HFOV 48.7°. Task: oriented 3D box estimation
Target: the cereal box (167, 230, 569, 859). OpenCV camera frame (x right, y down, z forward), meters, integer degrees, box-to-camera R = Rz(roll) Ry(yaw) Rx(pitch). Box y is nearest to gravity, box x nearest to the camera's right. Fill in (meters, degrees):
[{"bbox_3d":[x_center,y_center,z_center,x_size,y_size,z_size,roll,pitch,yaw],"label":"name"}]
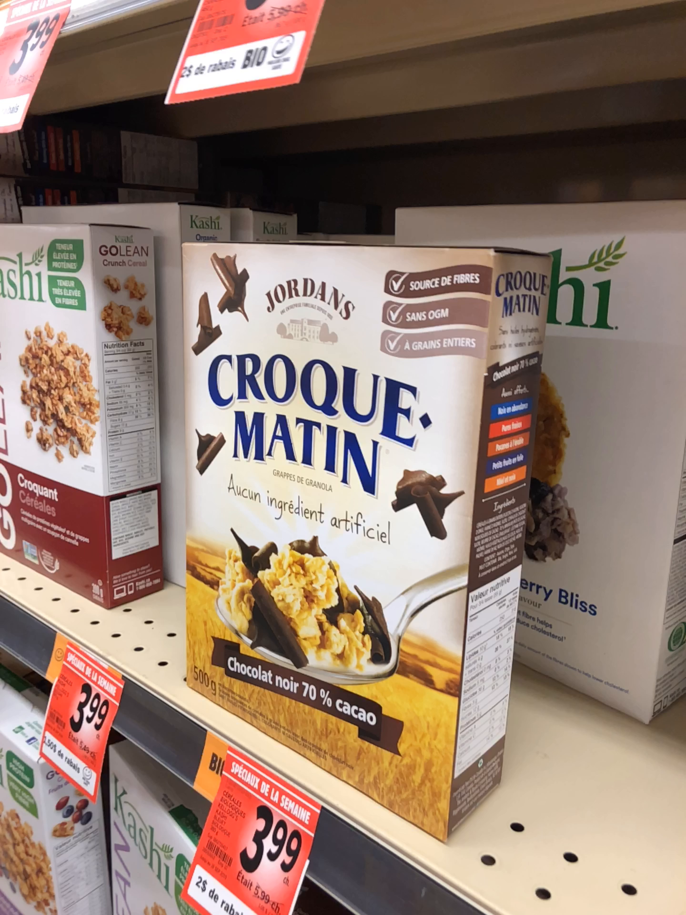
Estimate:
[{"bbox_3d":[-0.006,0.022,0.364,0.190,0.249,0.050,14,17,39],"label":"cereal box"}]
